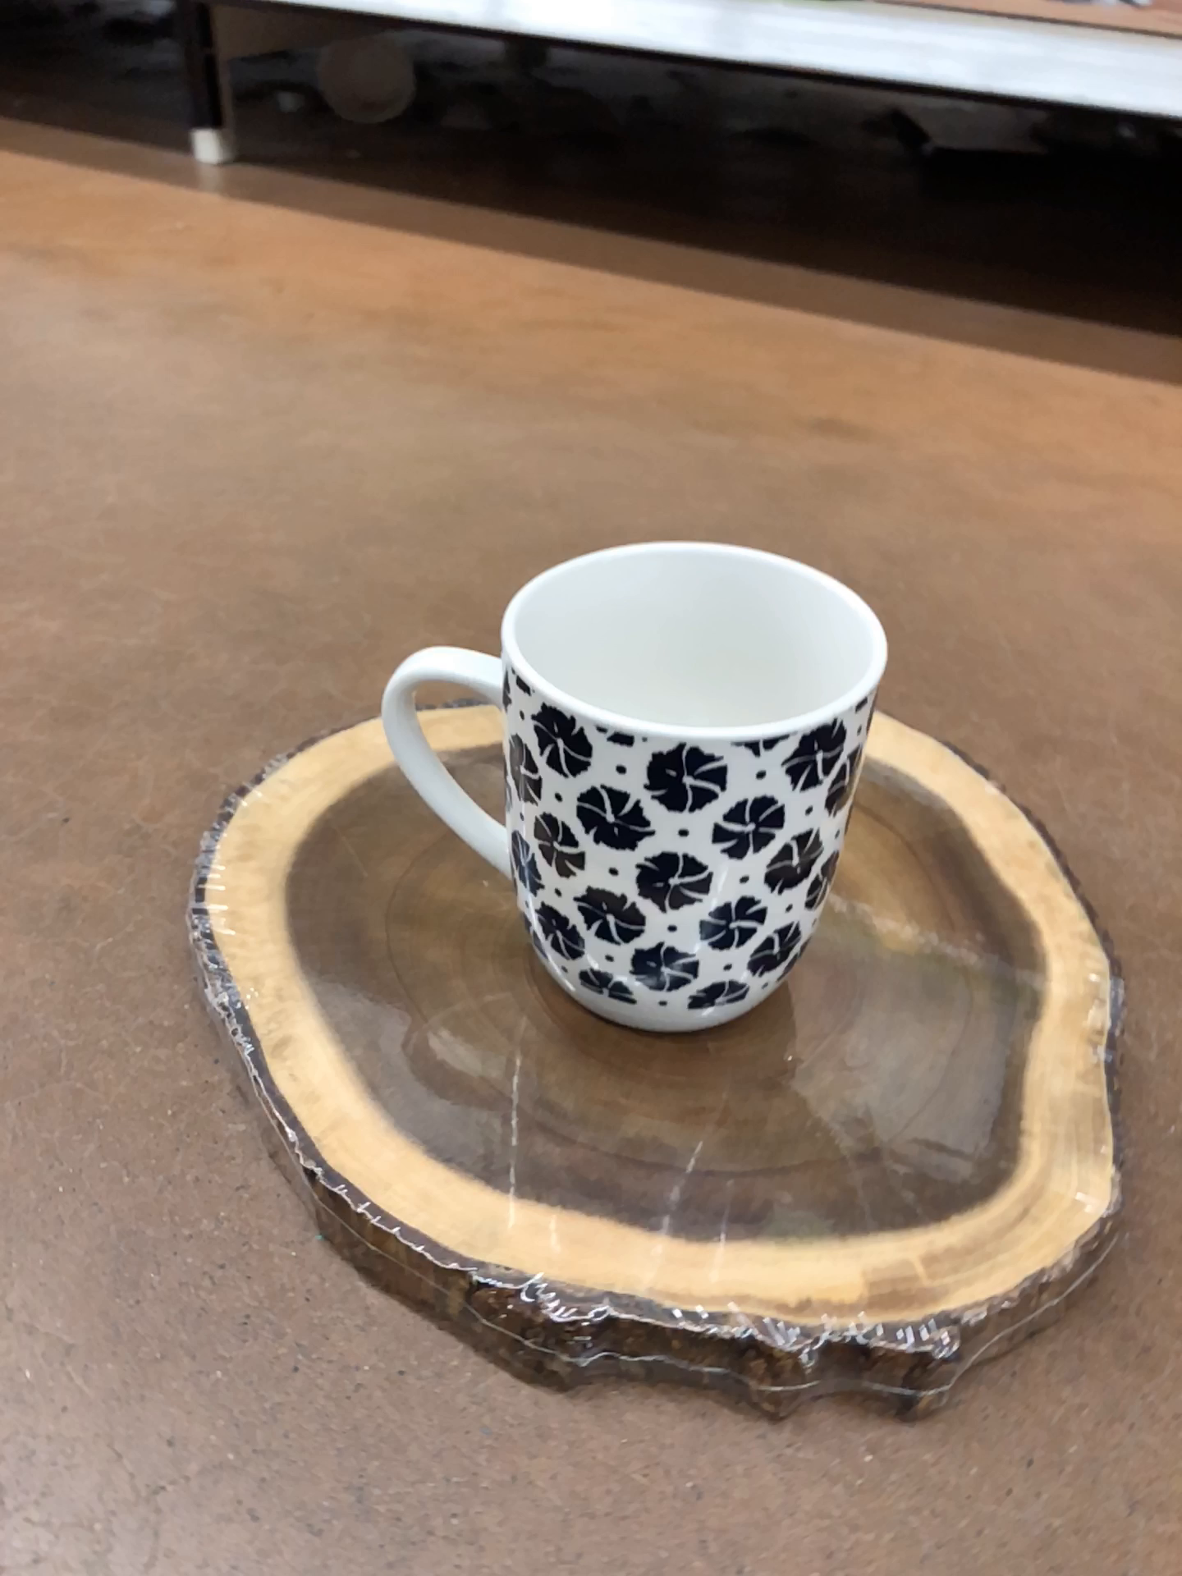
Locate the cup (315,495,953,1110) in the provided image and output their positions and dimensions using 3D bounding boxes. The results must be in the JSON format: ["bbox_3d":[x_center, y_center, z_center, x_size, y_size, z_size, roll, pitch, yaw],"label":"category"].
[{"bbox_3d":[0.014,0.000,0.330,0.130,0.100,0.090,9,37,8],"label":"cup"}]
